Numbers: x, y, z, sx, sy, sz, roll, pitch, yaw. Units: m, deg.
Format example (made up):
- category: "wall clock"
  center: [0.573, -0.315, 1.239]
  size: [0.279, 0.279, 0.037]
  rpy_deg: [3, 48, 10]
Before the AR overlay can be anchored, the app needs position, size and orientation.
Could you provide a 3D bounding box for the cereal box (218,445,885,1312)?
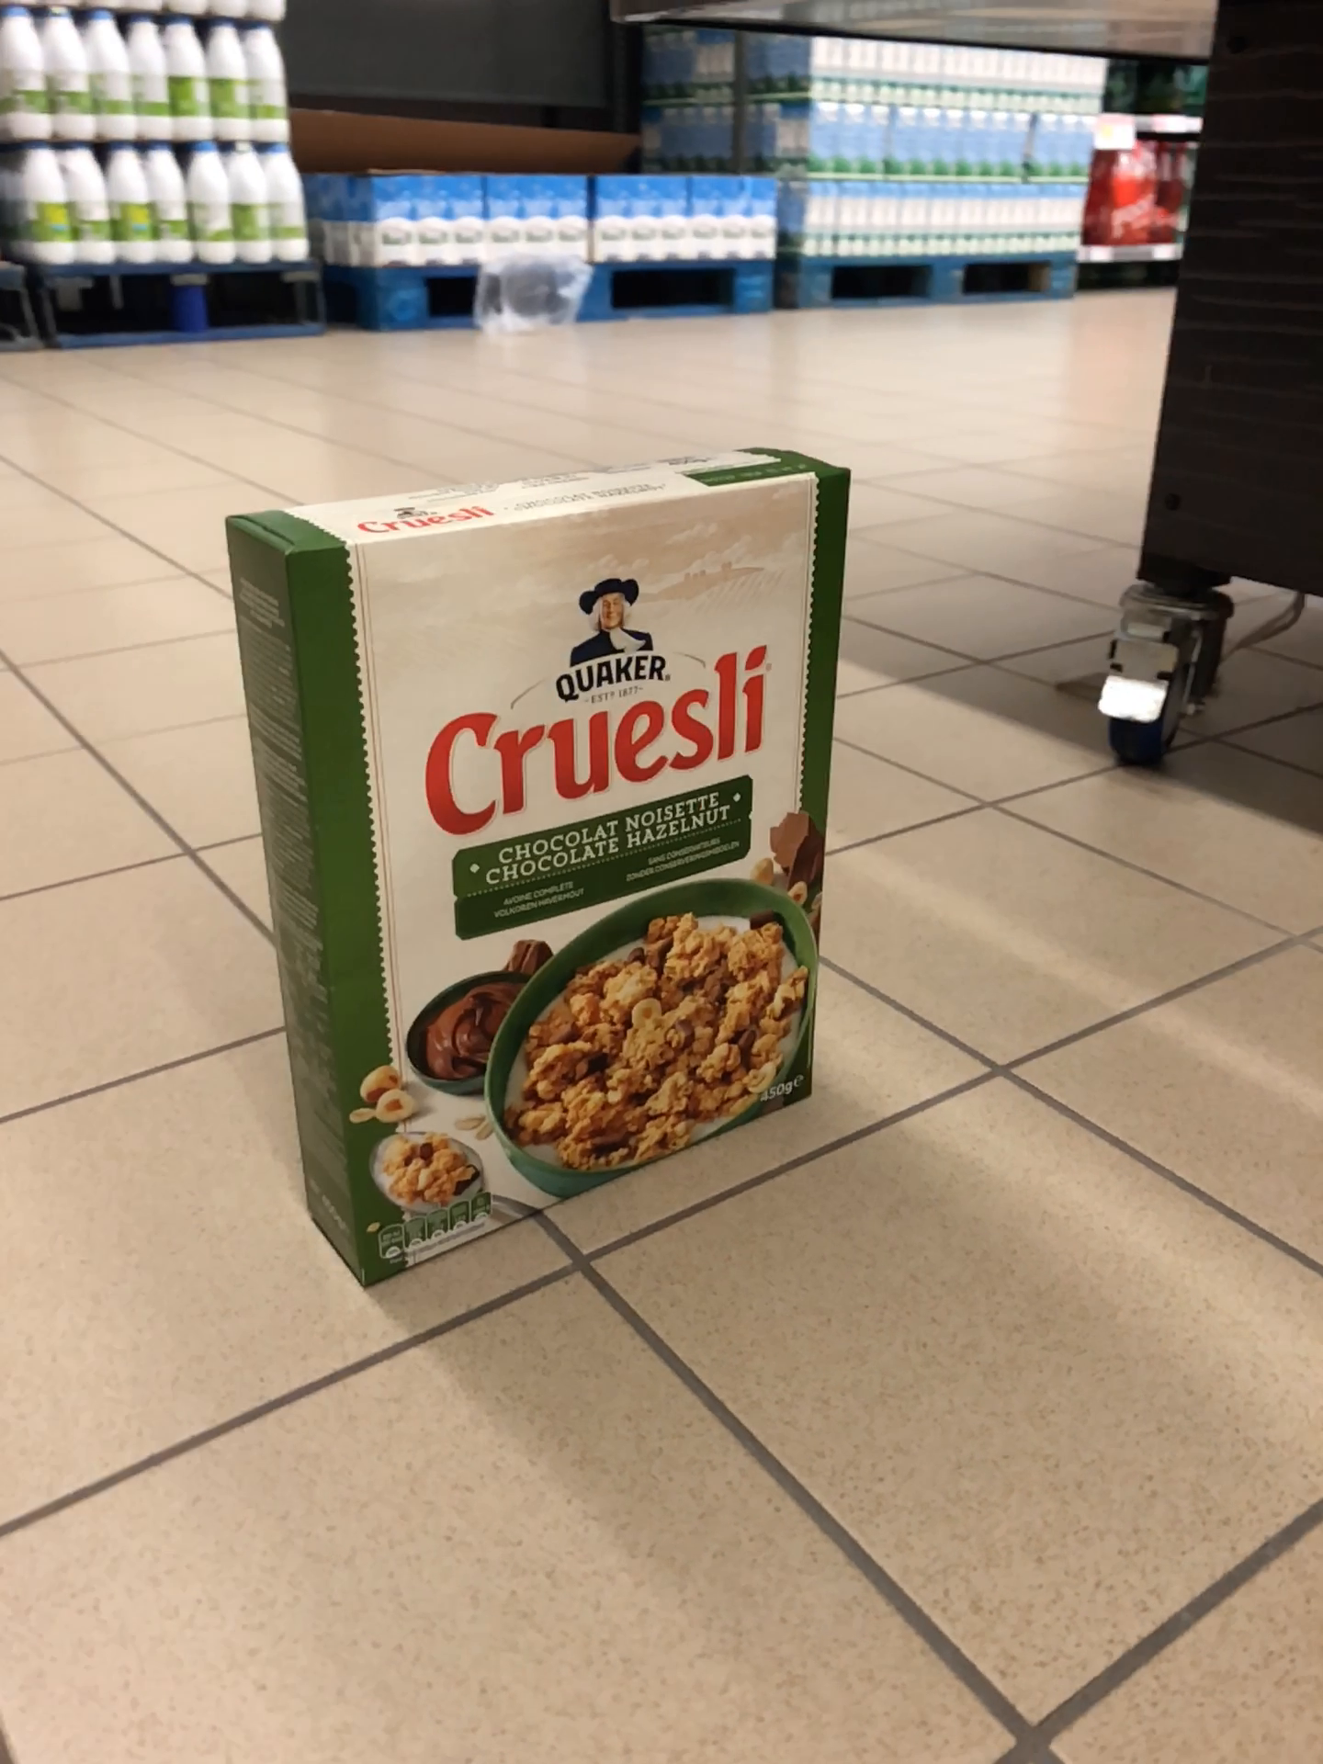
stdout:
- category: "cereal box"
  center: [-0.025, -0.007, 0.478]
  size: [0.191, 0.239, 0.060]
  rpy_deg: [-16, 29, -30]
